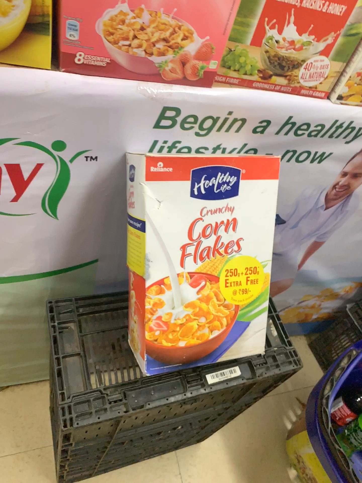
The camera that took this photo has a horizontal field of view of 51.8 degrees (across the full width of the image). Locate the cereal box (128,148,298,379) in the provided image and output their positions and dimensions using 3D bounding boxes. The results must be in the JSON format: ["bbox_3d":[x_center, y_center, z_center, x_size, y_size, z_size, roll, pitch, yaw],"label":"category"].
[{"bbox_3d":[0.039,0.019,0.518,0.200,0.280,0.100,-4,11,-19],"label":"cereal box"}]
